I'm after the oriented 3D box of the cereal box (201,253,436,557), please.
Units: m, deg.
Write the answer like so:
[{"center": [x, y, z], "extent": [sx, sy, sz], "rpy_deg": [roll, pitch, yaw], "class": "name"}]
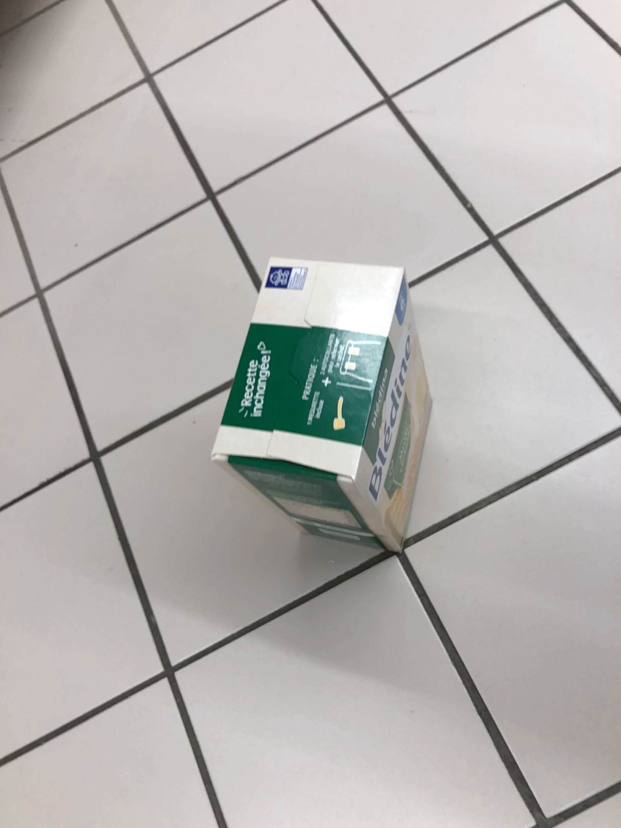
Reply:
[{"center": [0.022, 0.006, 0.466], "extent": [0.090, 0.200, 0.130], "rpy_deg": [9, 72, 17], "class": "cereal box"}]
